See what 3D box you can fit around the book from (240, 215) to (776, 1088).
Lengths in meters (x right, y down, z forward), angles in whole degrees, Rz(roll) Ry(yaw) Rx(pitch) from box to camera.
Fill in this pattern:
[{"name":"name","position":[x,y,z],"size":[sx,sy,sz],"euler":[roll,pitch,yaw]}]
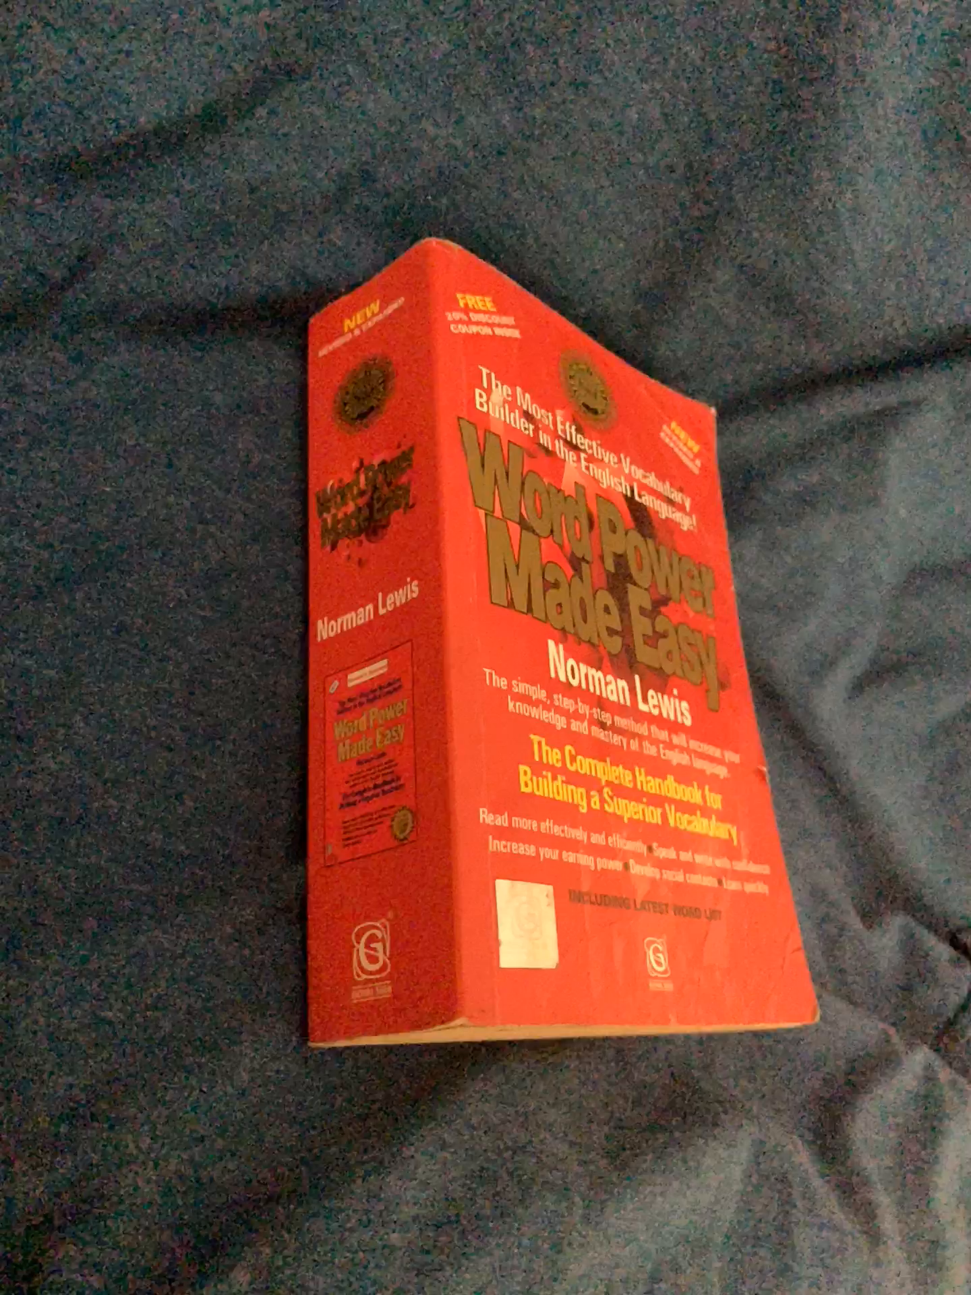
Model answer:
[{"name":"book","position":[0.013,0.008,0.261],"size":[0.121,0.050,0.190],"euler":[25,57,-42]}]
